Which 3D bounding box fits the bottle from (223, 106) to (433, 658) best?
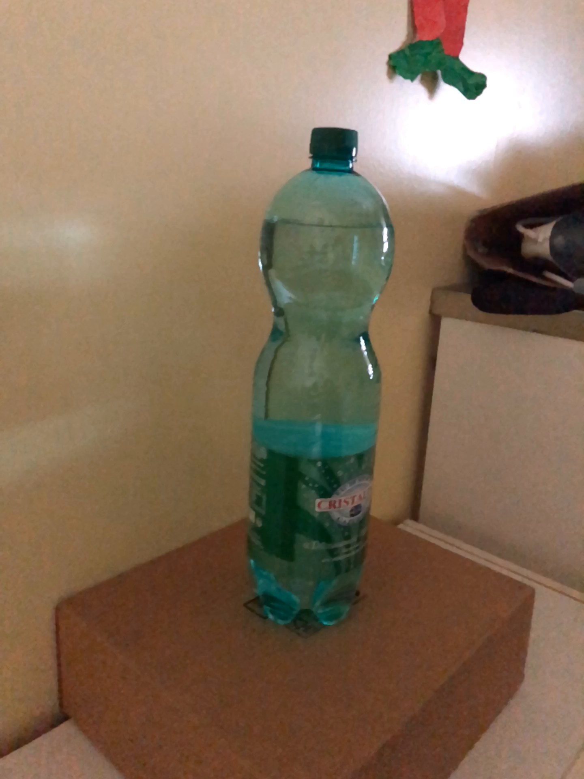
[{"bbox_3d":[0.017,-0.002,0.438,0.090,0.339,0.080,-11,22,-40],"label":"bottle"}]
